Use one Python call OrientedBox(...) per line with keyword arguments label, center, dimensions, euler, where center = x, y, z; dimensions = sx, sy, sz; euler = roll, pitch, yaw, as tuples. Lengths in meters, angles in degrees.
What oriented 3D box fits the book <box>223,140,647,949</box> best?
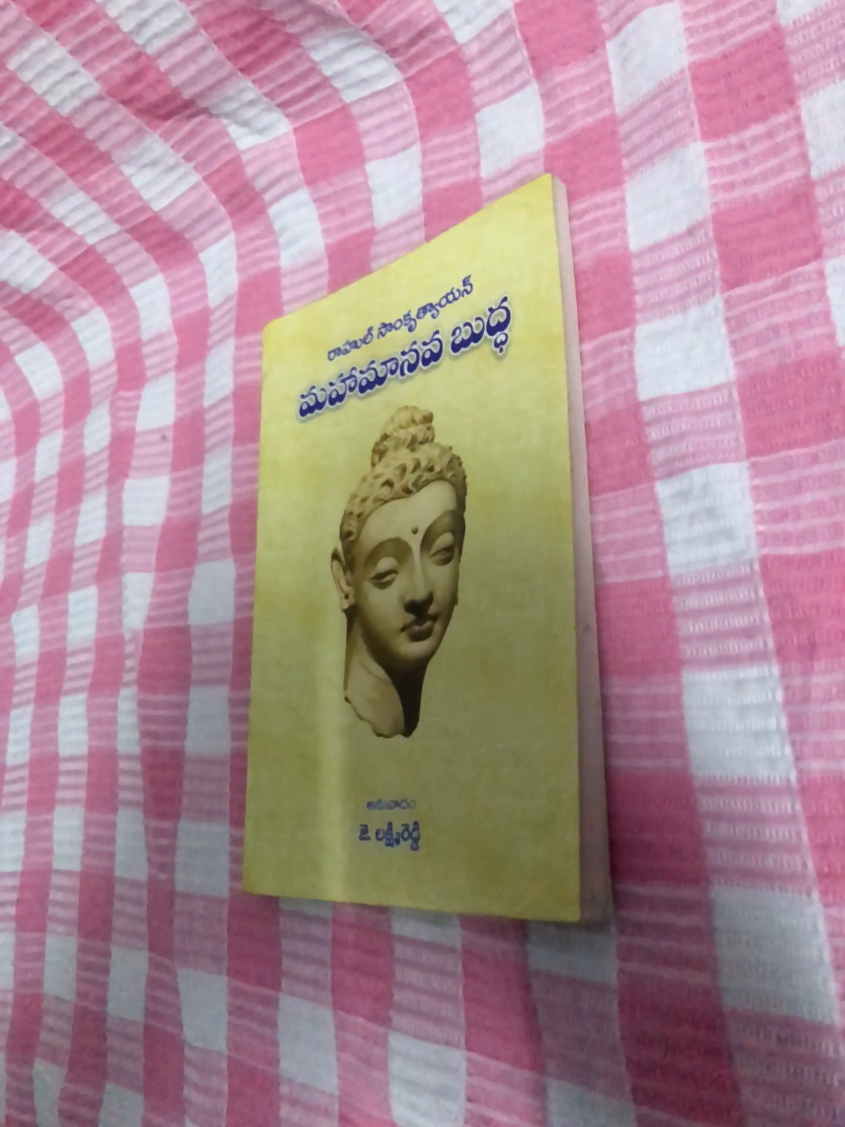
OrientedBox(label="book", center=(-0.004, -0.004, 0.295), dimensions=(0.140, 0.020, 0.220), euler=(-13, 69, 39))
